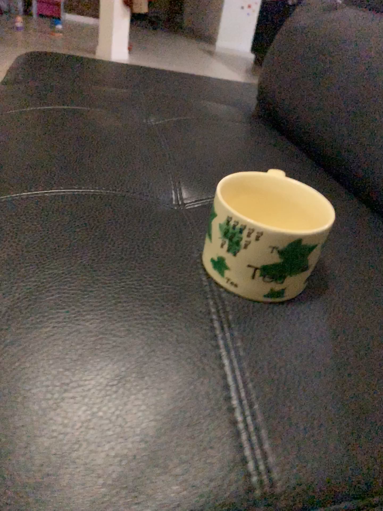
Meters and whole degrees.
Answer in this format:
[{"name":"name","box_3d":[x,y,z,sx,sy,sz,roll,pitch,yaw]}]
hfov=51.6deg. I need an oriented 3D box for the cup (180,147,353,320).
[{"name":"cup","box_3d":[0.054,-0.025,0.290,0.090,0.060,0.119,15,32,6]}]
